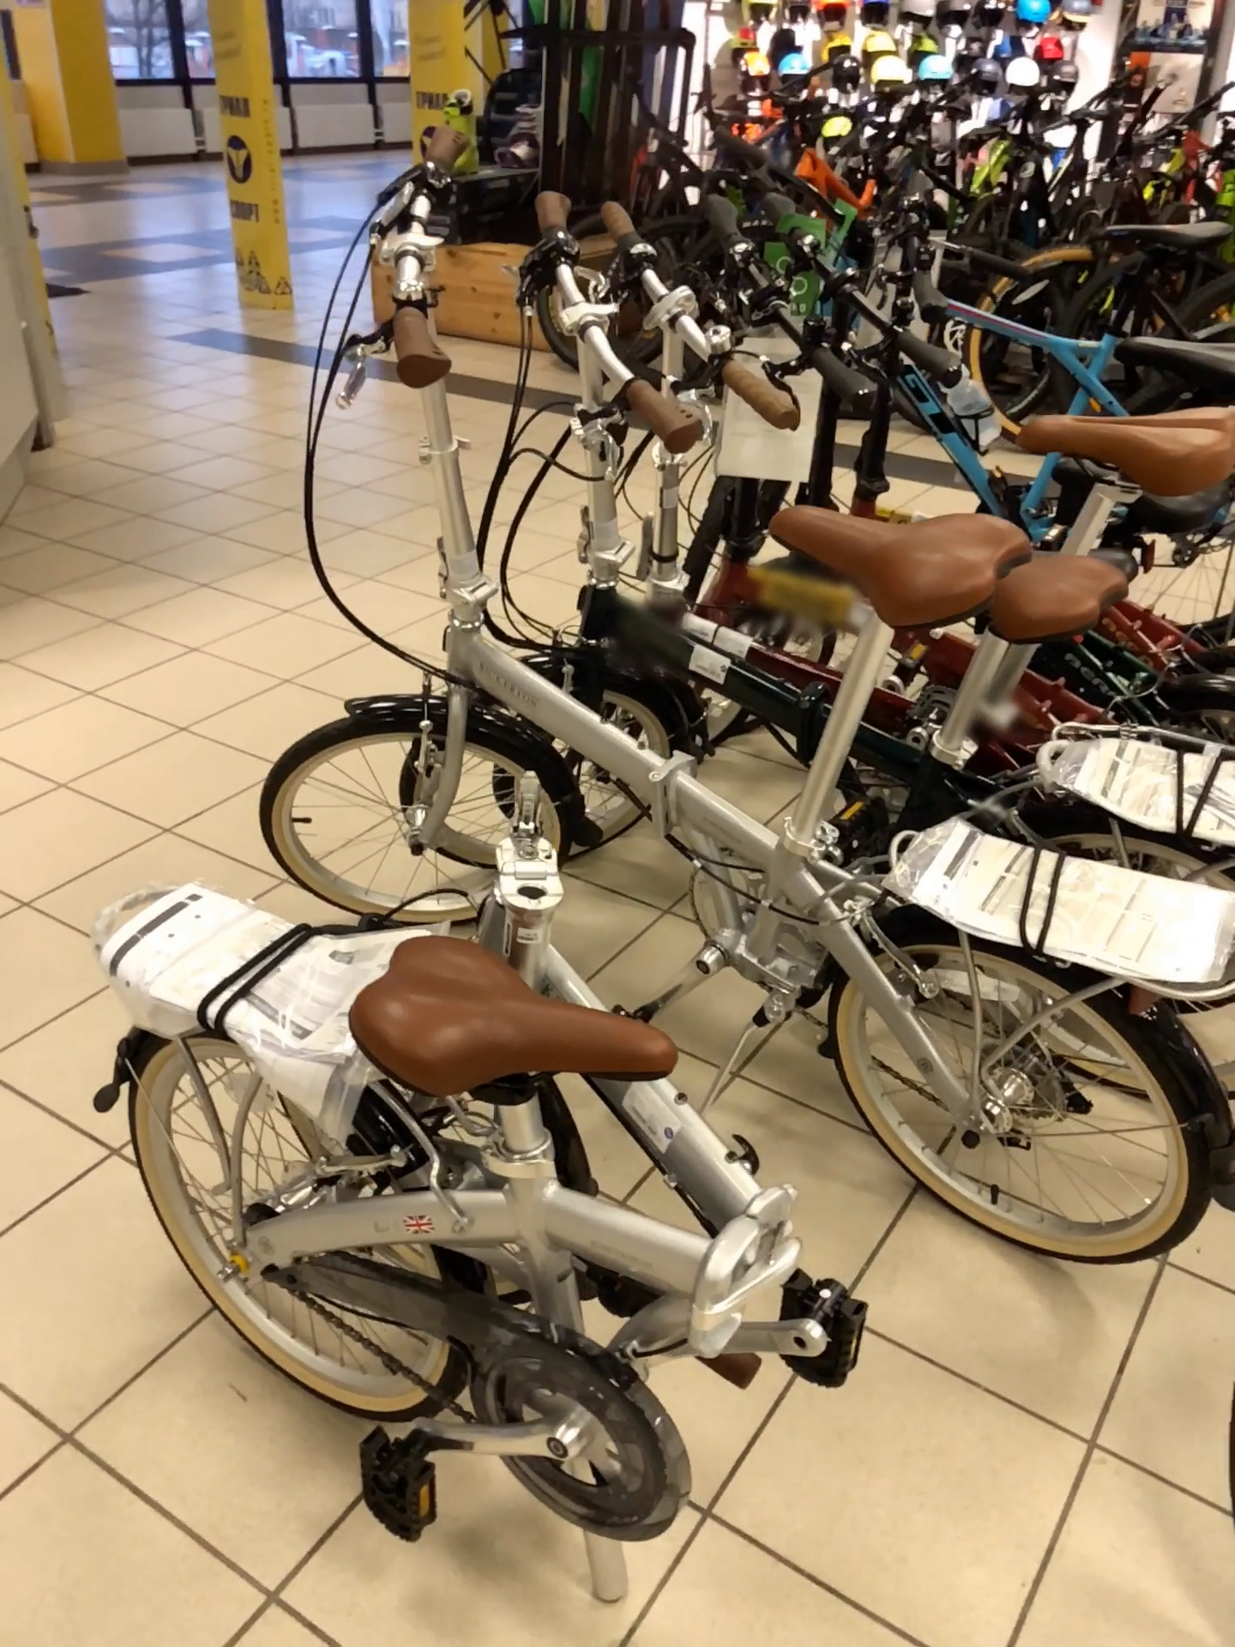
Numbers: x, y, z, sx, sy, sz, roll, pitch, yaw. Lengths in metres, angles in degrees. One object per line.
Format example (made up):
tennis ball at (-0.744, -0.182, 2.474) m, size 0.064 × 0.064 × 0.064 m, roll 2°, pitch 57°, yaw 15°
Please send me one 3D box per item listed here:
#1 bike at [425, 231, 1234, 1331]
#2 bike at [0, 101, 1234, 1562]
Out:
bike at (0.371, -0.154, 1.750) m, size 1.141 × 1.036 × 0.559 m, roll 17°, pitch 32°, yaw 27°
bike at (0.034, -0.124, 1.539) m, size 1.361 × 1.153 × 0.555 m, roll 21°, pitch 34°, yaw 29°
